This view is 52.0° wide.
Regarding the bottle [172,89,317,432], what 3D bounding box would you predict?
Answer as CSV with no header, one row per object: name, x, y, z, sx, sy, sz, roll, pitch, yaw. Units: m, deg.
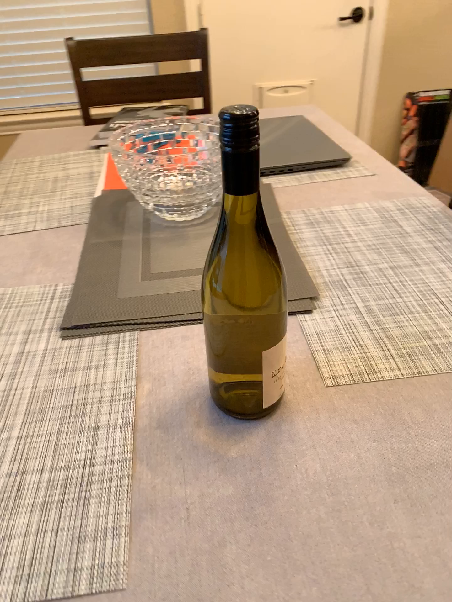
bottle,0.020,-0.017,0.414,0.090,0.298,0.090,-2,36,1
